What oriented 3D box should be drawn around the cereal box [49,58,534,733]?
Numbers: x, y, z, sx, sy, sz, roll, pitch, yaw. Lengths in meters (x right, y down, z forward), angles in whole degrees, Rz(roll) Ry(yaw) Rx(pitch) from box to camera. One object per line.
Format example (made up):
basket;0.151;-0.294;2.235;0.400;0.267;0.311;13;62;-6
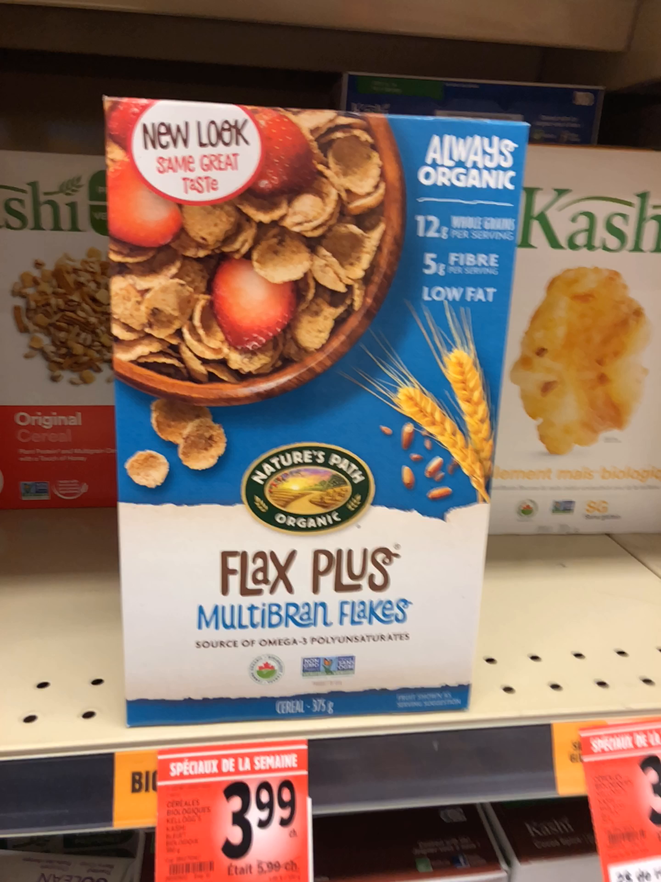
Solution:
cereal box;-0.020;-0.010;0.327;0.170;0.269;0.070;0;17;-7
